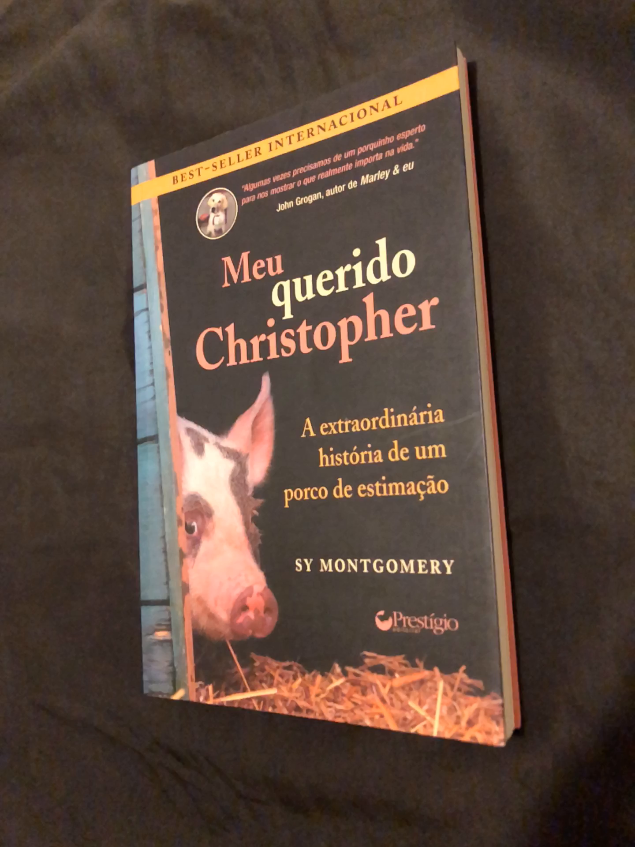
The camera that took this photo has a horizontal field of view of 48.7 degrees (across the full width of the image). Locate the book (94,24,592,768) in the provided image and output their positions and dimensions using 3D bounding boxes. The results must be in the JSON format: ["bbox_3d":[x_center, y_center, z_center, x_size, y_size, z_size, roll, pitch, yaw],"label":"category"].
[{"bbox_3d":[-0.006,-0.004,0.253,0.170,0.020,0.220,-8,83,28],"label":"book"}]
